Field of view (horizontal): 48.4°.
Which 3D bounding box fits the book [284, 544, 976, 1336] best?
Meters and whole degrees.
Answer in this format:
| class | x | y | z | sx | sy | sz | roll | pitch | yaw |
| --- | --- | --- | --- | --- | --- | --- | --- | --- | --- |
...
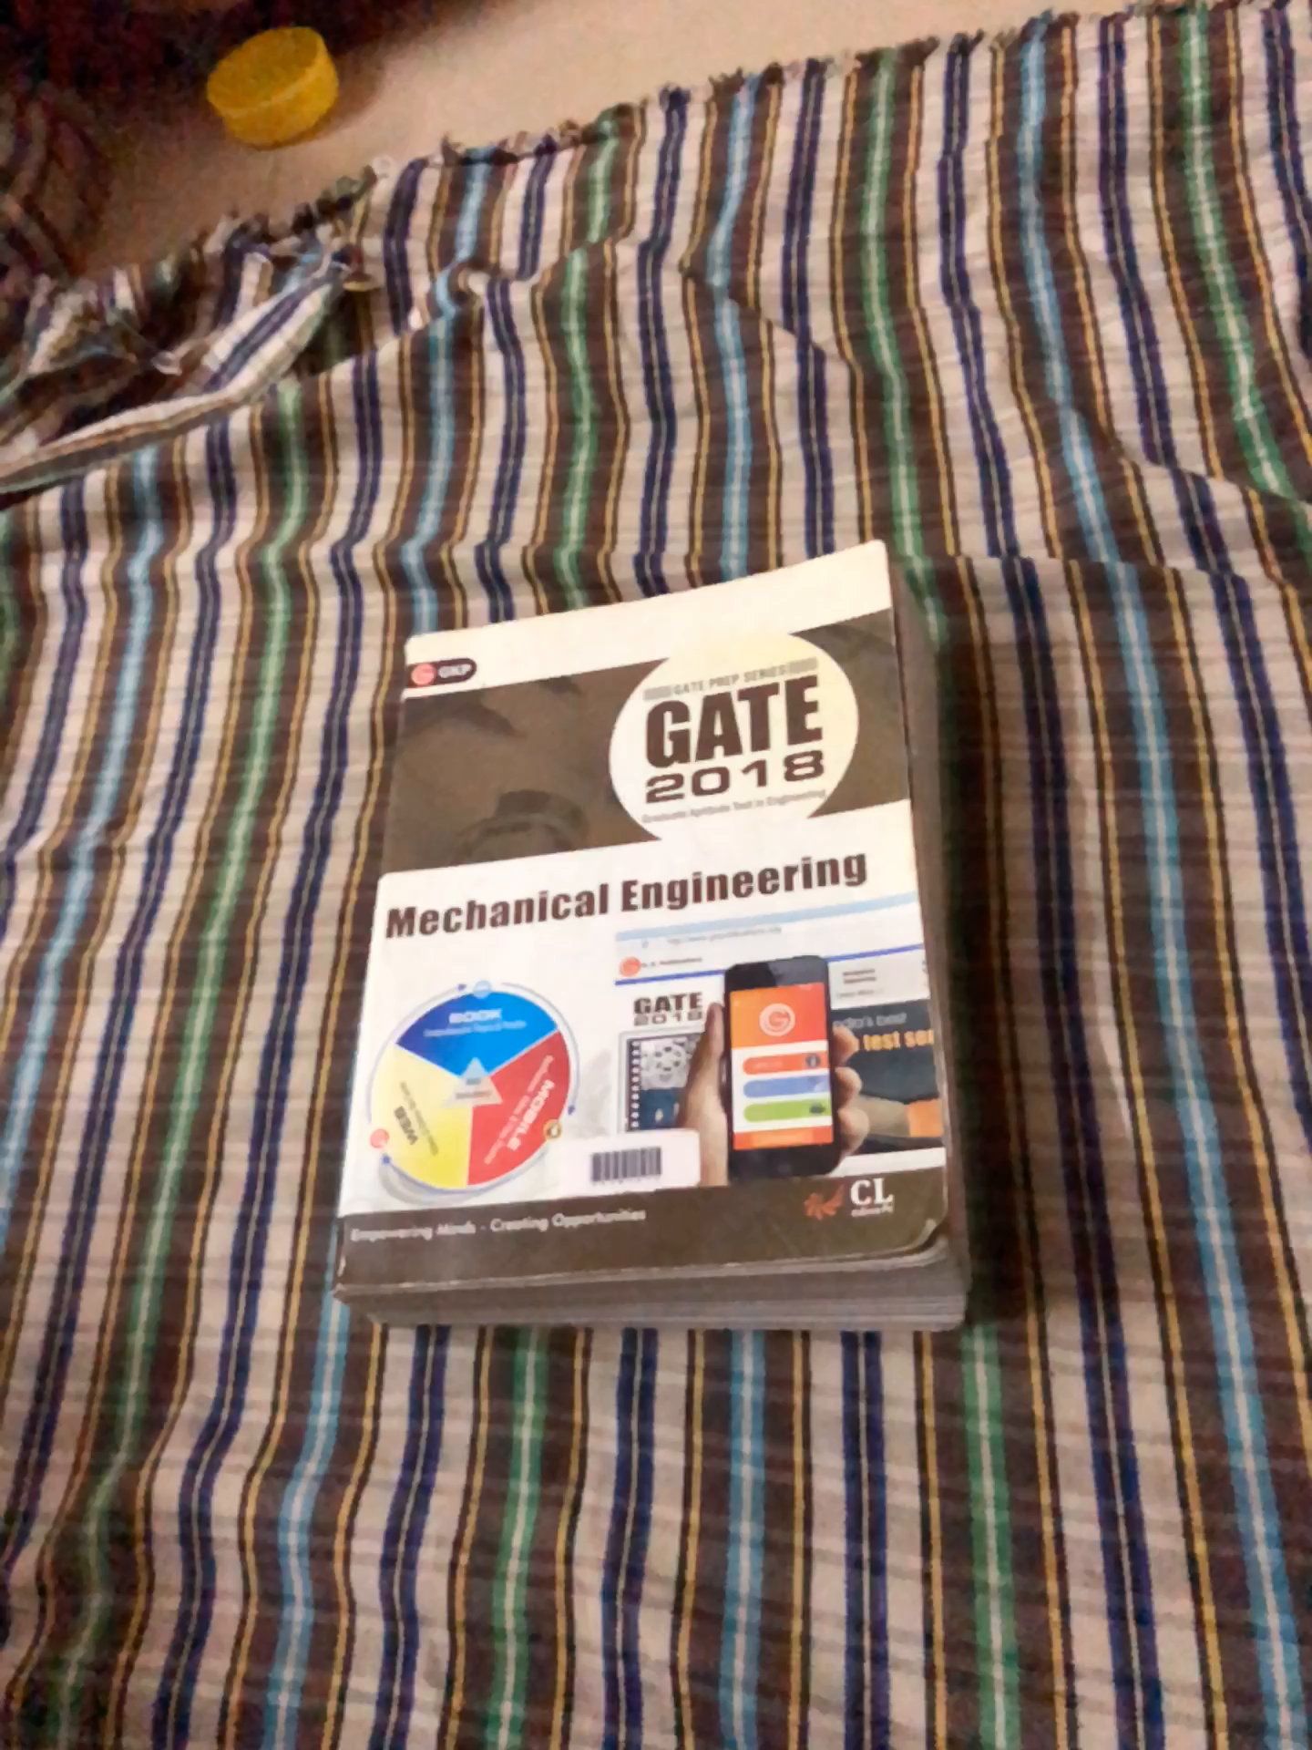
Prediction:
| class | x | y | z | sx | sy | sz | roll | pitch | yaw |
| --- | --- | --- | --- | --- | --- | --- | --- | --- | --- |
| book | -0.004 | 0.022 | 0.533 | 0.210 | 0.076 | 0.264 | -6 | 60 | 14 |
